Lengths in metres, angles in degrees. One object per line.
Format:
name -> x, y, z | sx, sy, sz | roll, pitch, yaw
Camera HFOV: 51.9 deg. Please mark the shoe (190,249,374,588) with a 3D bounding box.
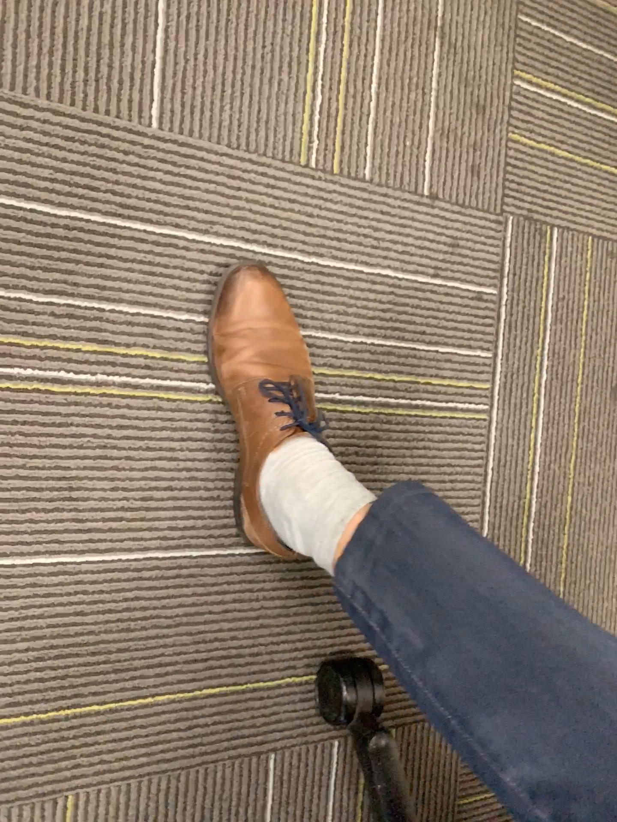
shoe -> -0.022, 0.003, 0.574 | 0.112, 0.068, 0.276 | -11, 98, -25
